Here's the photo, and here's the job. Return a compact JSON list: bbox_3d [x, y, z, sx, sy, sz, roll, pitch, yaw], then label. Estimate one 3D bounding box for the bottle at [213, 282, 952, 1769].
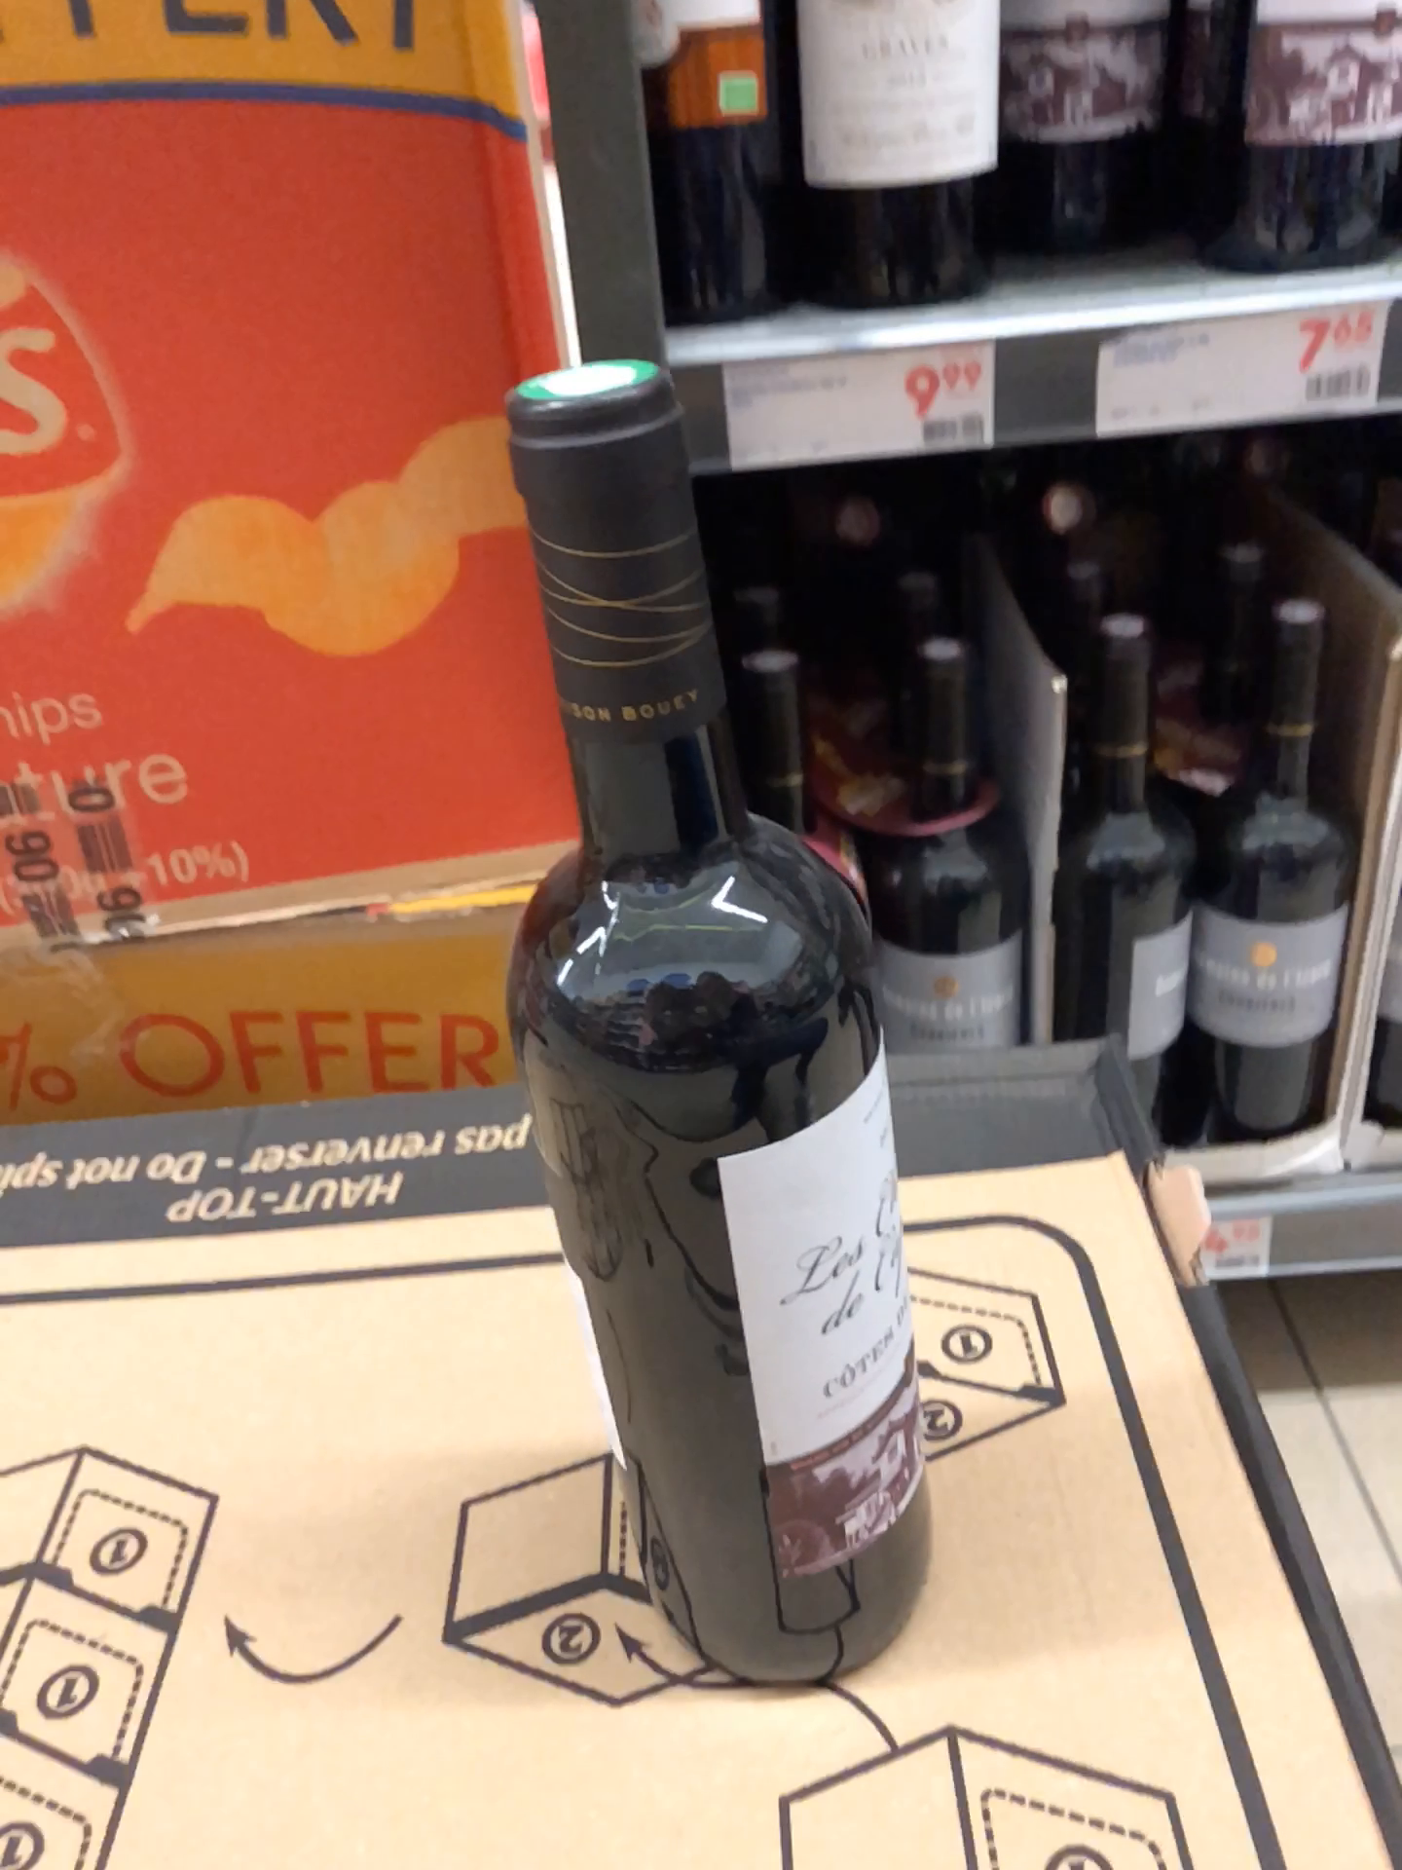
[{"bbox_3d":[0.001,0.035,0.310,0.090,0.288,0.091,-5,32,3],"label":"bottle"}]
